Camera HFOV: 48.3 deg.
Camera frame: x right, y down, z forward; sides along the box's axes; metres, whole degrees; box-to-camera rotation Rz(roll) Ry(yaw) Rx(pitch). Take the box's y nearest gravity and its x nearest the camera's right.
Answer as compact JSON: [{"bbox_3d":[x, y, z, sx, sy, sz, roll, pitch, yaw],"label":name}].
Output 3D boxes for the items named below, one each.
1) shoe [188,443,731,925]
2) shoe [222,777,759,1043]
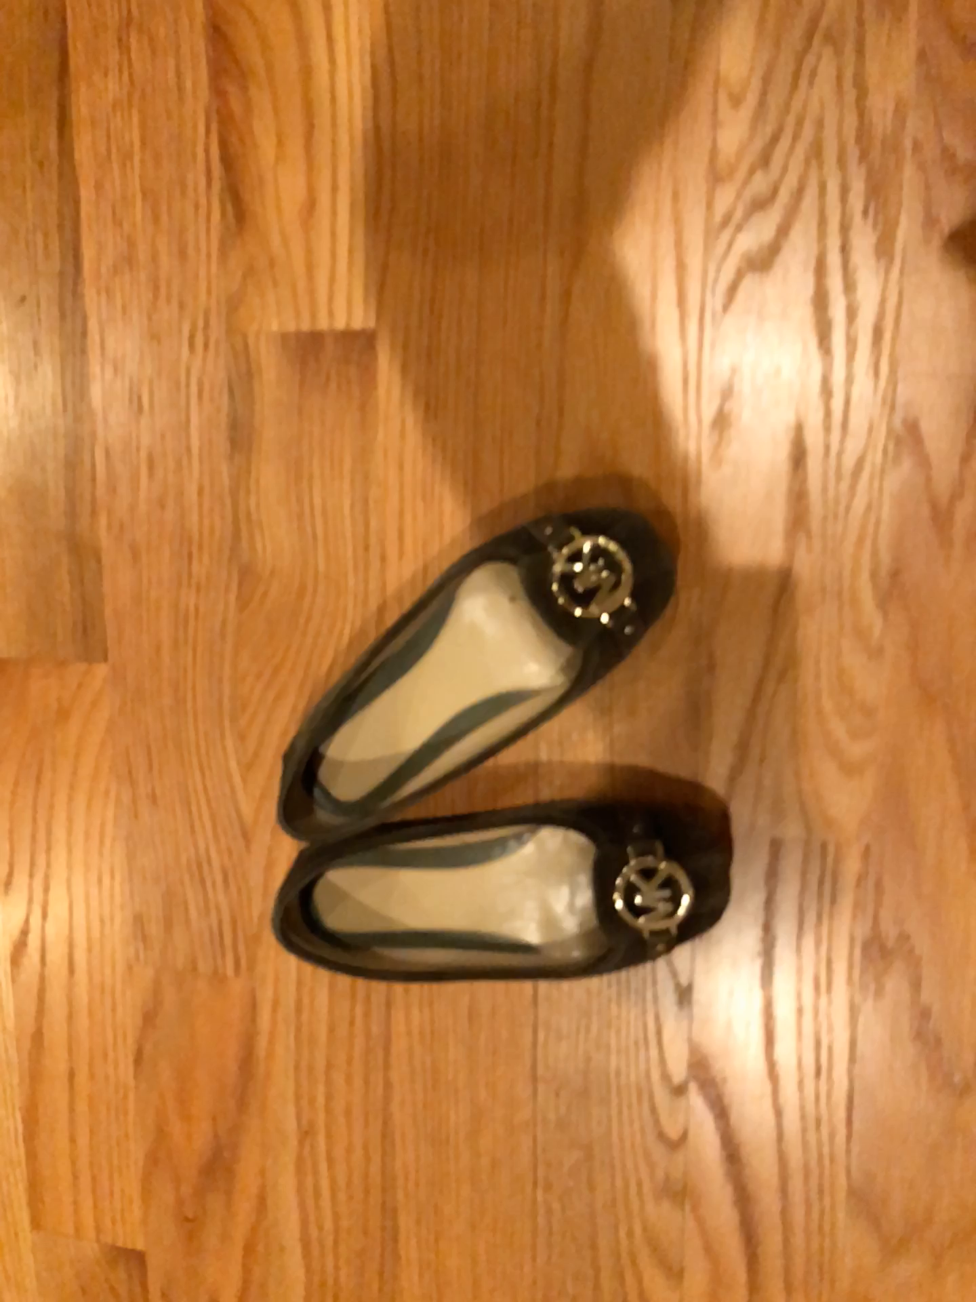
[{"bbox_3d":[-0.014,0.016,0.516,0.242,0.079,0.091,-38,88,18],"label":"shoe"},{"bbox_3d":[0.004,0.127,0.534,0.240,0.079,0.091,-7,97,16],"label":"shoe"}]
